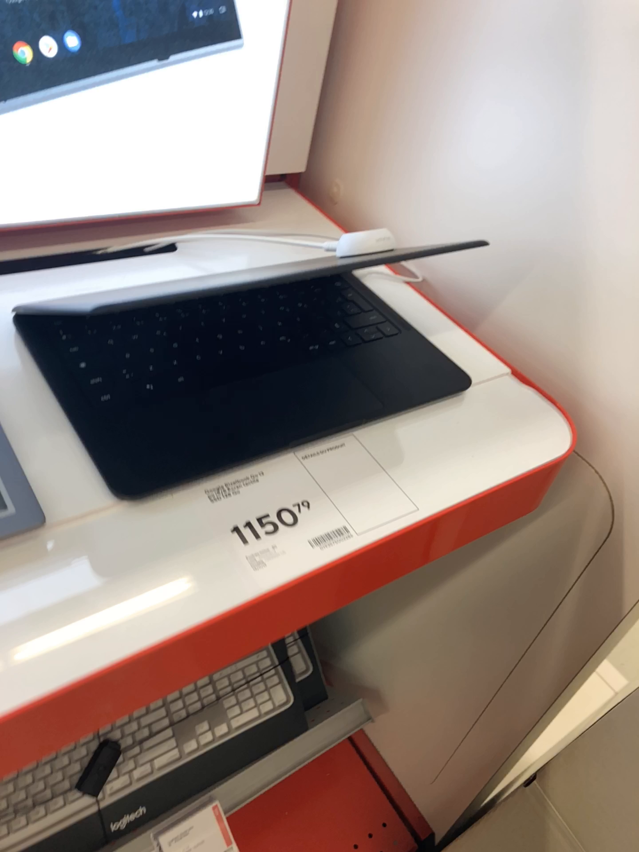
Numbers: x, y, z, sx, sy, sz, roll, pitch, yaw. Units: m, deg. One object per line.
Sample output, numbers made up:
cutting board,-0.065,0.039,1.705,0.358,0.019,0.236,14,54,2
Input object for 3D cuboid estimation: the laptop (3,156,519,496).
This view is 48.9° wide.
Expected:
laptop,-0.041,-0.098,0.517,0.299,0.106,0.199,-18,49,-33
